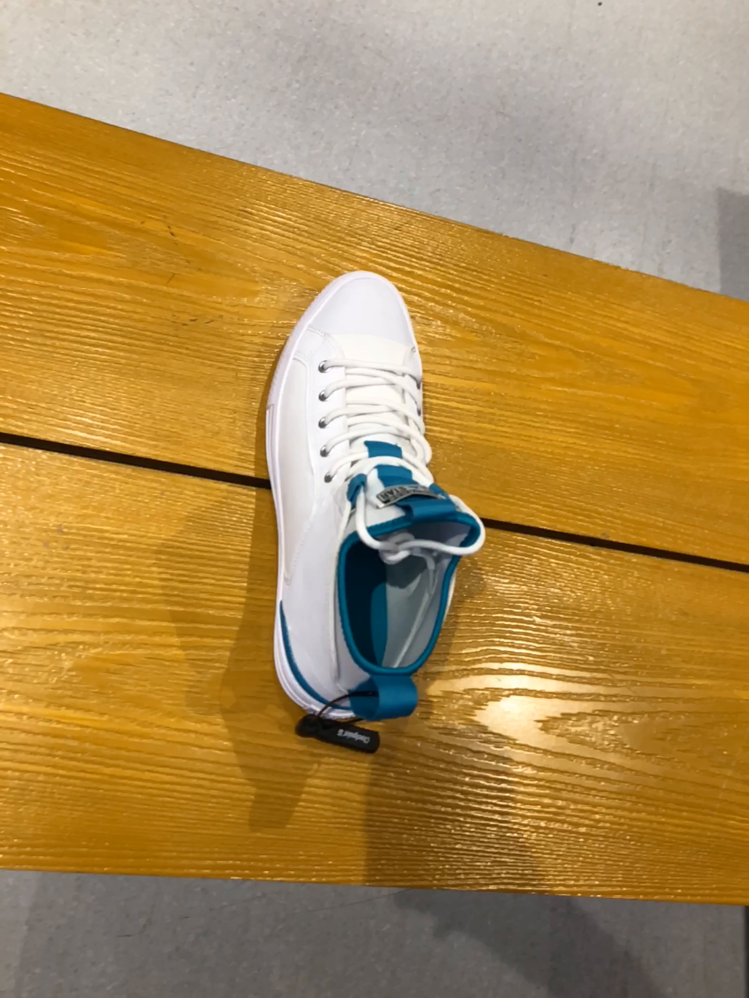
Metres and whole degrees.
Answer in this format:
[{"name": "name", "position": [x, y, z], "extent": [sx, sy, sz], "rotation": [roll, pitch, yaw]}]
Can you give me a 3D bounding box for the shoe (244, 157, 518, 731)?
[{"name": "shoe", "position": [-0.005, -0.017, 0.488], "extent": [0.108, 0.158, 0.294], "rotation": [5, 75, -16]}]
